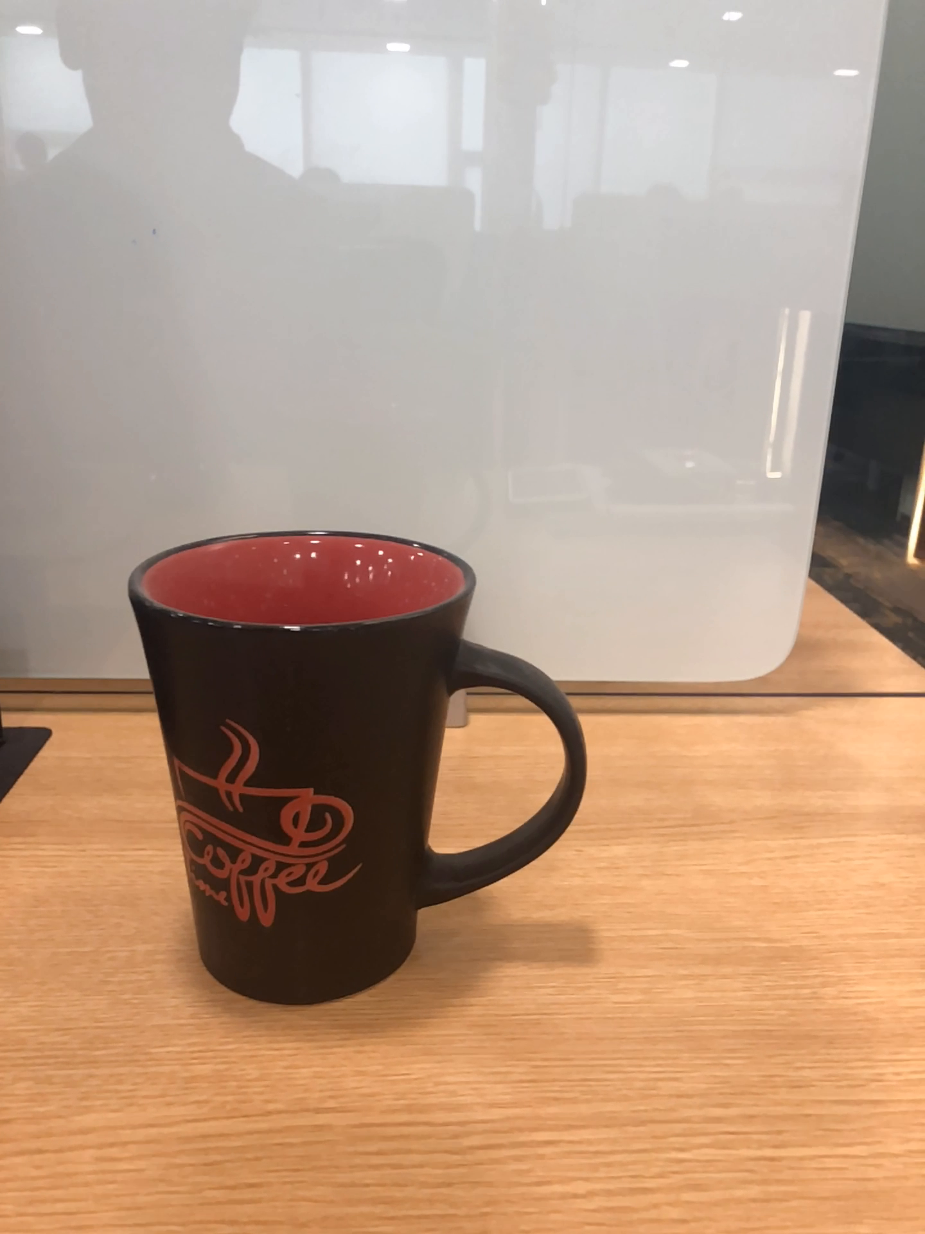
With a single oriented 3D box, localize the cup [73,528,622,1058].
[{"bbox_3d":[-0.022,0.039,0.277,0.120,0.100,0.090,4,18,7],"label":"cup"}]
